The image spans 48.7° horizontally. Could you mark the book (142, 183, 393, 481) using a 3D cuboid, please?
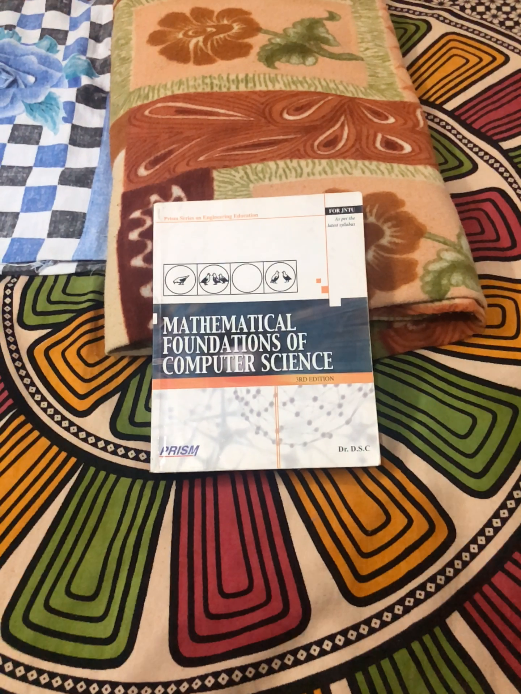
[{"bbox_3d":[0.002,-0.013,0.496,0.190,0.060,0.240,-3,74,3],"label":"book"}]
